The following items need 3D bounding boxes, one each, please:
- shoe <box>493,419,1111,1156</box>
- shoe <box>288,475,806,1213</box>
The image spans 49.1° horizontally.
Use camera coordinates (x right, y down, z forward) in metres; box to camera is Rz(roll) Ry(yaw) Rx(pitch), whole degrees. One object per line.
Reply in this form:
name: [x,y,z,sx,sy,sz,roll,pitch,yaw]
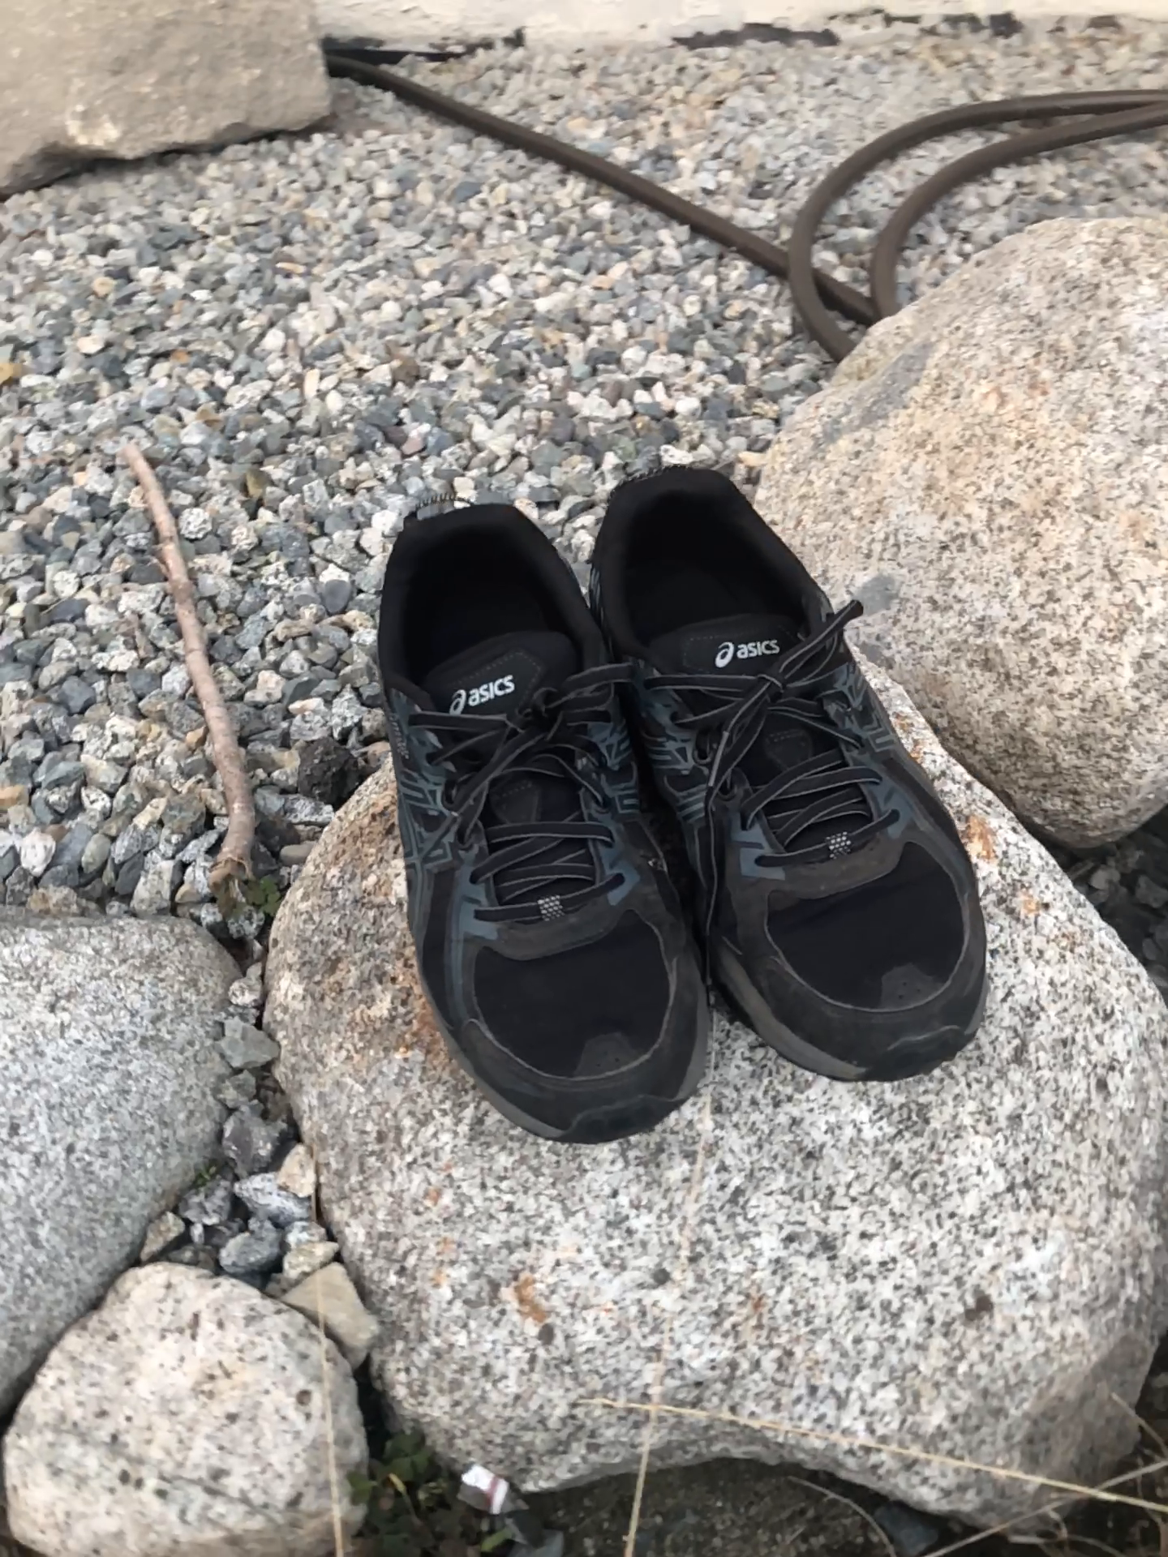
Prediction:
shoe: [0.063,-0.018,0.515,0.120,0.099,0.292,-14,47,-10]
shoe: [-0.029,0.006,0.513,0.120,0.099,0.282,-14,47,-10]
